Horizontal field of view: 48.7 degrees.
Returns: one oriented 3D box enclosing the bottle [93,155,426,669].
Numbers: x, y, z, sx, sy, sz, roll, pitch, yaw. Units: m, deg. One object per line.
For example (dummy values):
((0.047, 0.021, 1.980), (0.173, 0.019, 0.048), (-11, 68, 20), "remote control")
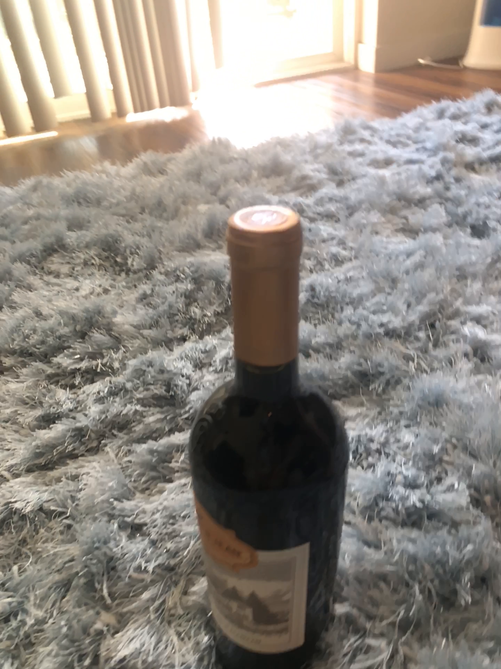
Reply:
((0.012, 0.076, 0.291), (0.090, 0.298, 0.090), (-4, 34, 3), "bottle")
